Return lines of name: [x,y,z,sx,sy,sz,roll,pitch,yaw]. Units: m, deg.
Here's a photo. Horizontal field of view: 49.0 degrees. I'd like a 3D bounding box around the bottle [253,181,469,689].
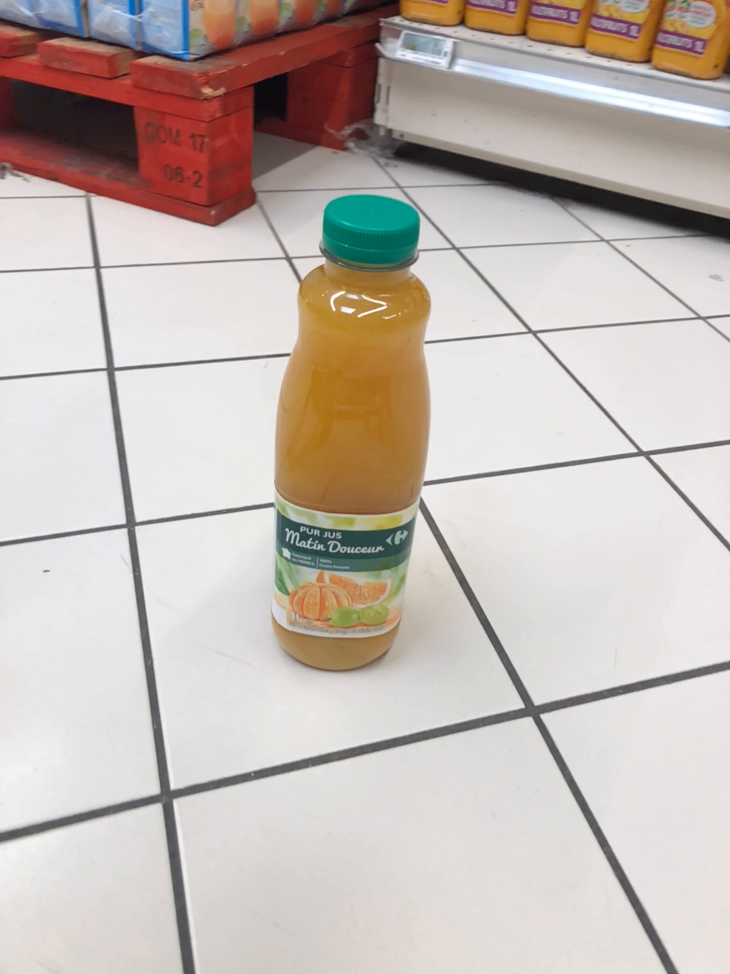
bottle: [-0.009,-0.014,0.404,0.080,0.238,0.091,6,38,-1]
